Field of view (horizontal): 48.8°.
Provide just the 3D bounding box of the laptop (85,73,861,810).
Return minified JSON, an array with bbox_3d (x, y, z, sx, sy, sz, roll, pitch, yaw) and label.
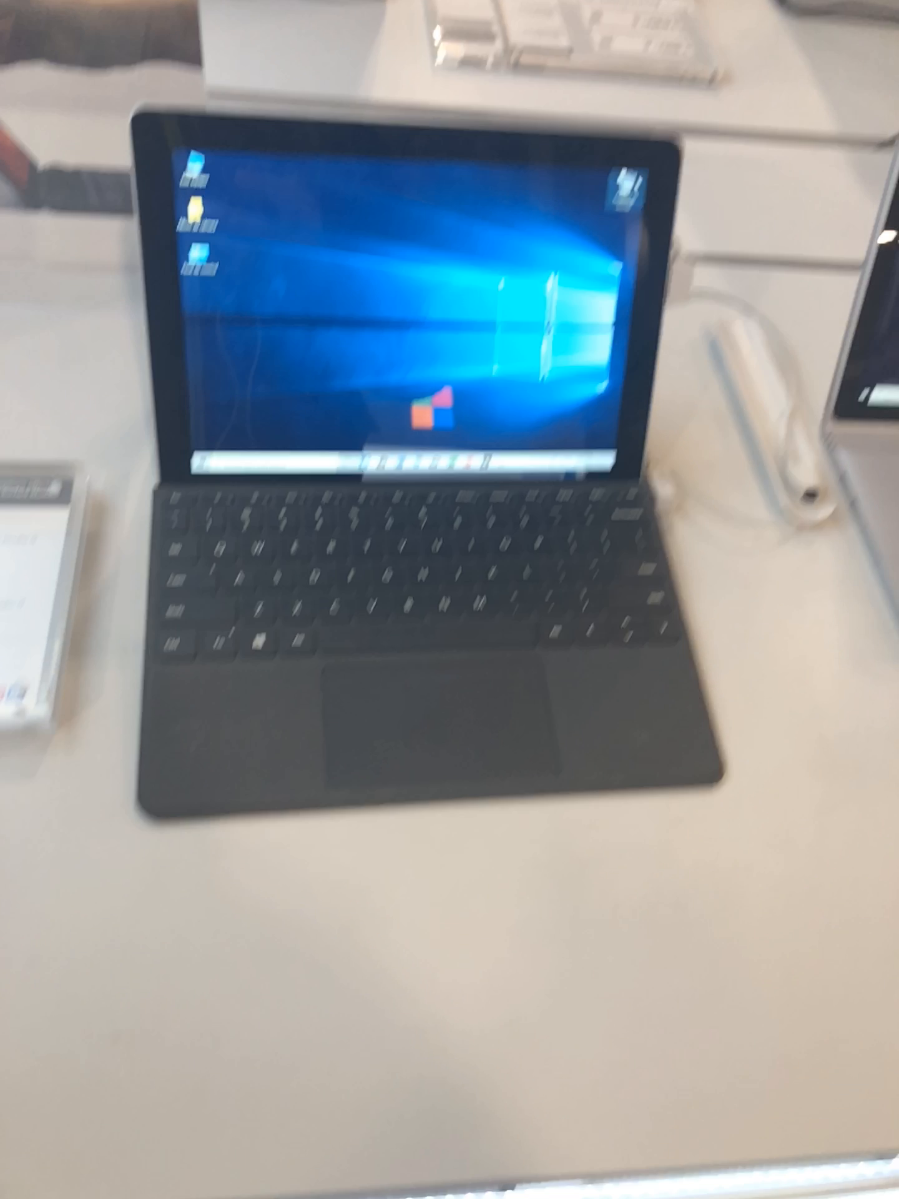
[{"bbox_3d":[-0.010,-0.069,0.415,0.236,0.140,0.251,-2,57,-12],"label":"laptop"}]
